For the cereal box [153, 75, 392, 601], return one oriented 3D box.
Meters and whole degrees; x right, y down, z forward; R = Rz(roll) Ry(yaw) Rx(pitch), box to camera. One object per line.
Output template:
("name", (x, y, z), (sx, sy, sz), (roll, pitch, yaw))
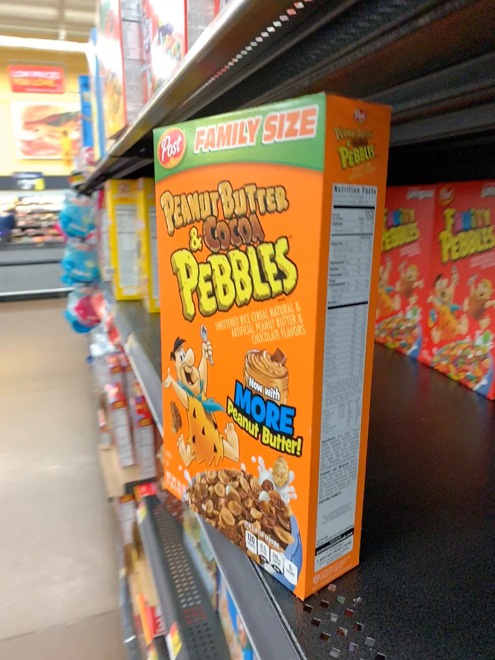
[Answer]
("cereal box", (0.004, 0.002, 0.415), (0.060, 0.339, 0.201), (-9, 15, -38))
